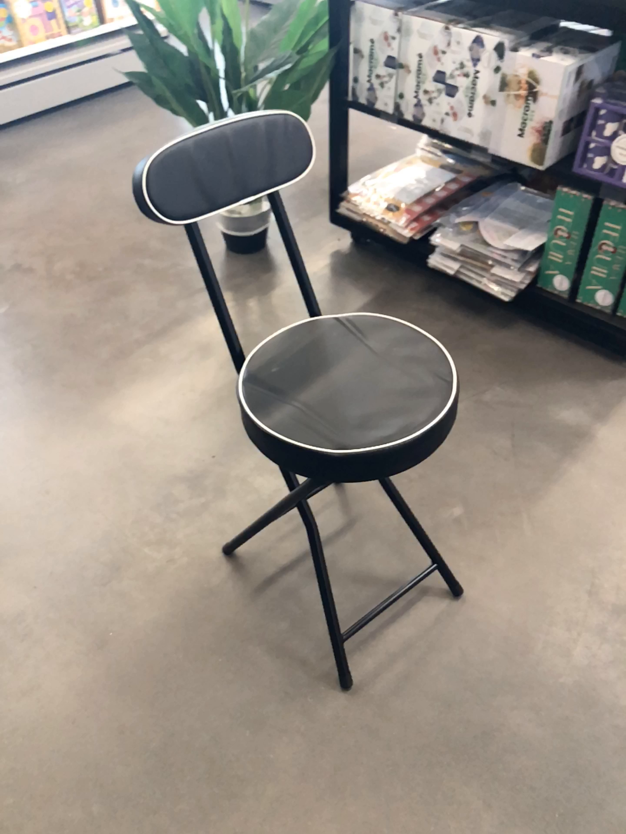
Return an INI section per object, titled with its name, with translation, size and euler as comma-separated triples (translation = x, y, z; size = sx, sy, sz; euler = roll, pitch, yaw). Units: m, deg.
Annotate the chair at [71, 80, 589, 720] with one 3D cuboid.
[chair]
translation = 0.001, -0.007, 1.042
size = 0.341, 0.756, 0.511
euler = -30, 51, -26
